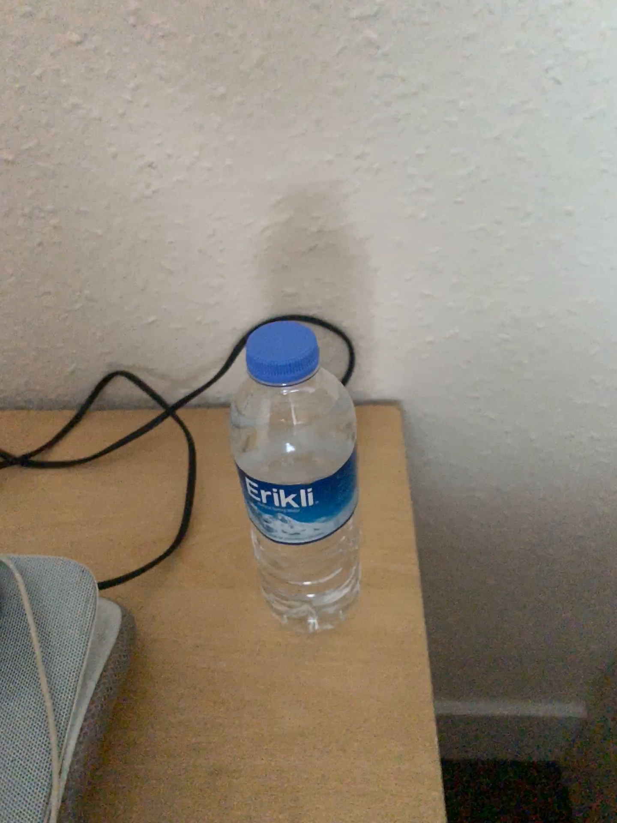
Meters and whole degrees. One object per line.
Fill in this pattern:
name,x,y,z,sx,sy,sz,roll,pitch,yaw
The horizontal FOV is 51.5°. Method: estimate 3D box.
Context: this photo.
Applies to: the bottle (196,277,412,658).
bottle,0.002,0.037,0.331,0.070,0.188,0.071,-1,41,1
